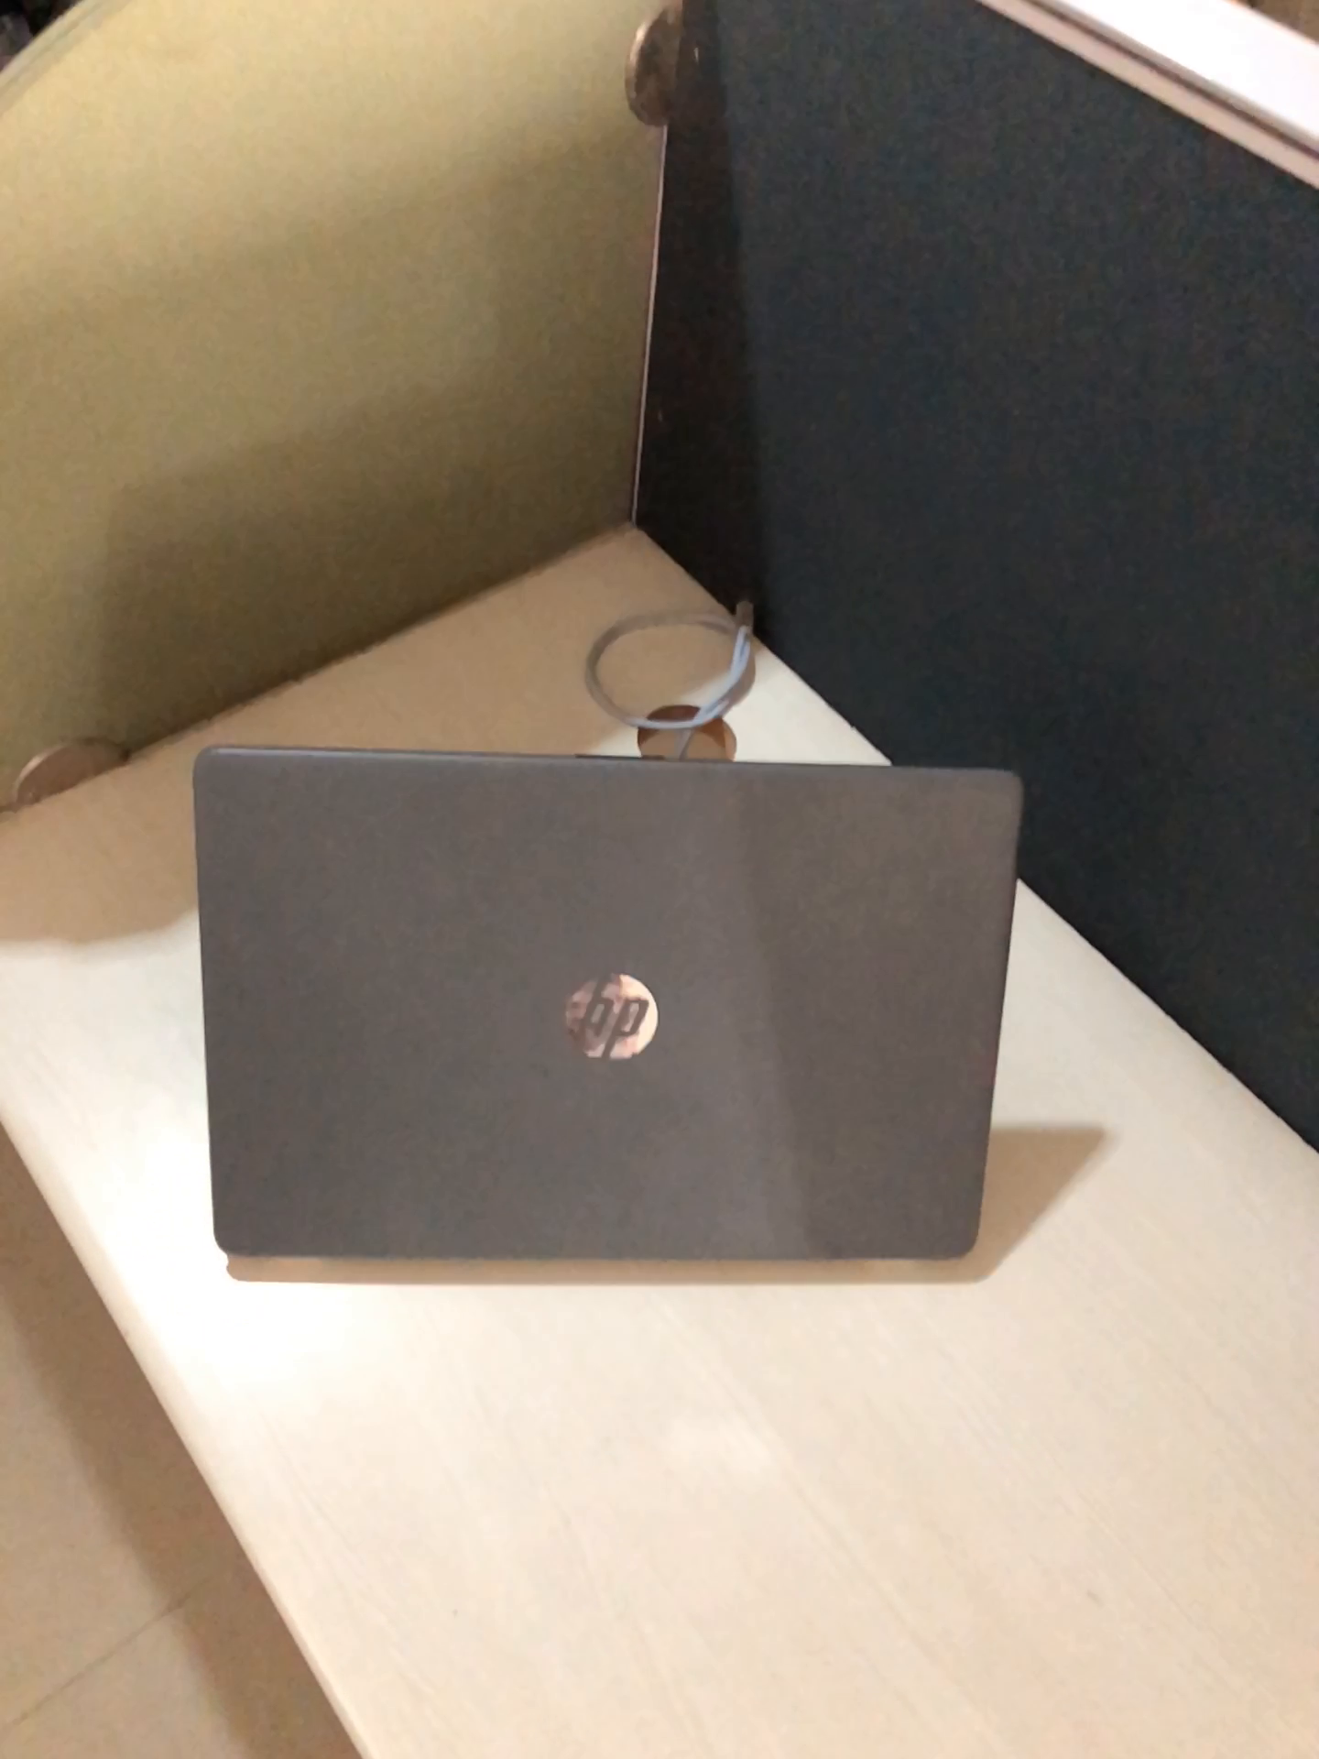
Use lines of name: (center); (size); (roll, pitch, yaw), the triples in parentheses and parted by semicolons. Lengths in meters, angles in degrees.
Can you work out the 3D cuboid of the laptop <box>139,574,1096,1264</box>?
laptop: (-0.024, 0.024, 0.698); (0.361, 0.204, 0.247); (1, 55, -4)
